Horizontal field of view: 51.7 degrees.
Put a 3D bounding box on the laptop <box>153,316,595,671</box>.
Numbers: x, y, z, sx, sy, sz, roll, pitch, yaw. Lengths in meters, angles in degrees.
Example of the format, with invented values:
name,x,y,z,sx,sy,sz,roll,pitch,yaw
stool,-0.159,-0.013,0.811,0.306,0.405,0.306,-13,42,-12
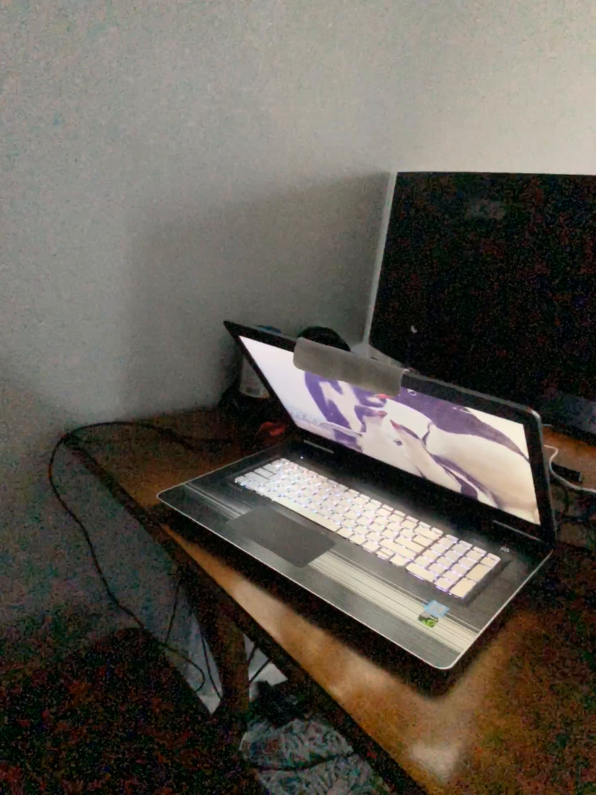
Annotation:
name,x,y,z,sx,sy,sz,roll,pitch,yaw
laptop,0.067,0.055,0.692,0.393,0.187,0.258,20,24,37
